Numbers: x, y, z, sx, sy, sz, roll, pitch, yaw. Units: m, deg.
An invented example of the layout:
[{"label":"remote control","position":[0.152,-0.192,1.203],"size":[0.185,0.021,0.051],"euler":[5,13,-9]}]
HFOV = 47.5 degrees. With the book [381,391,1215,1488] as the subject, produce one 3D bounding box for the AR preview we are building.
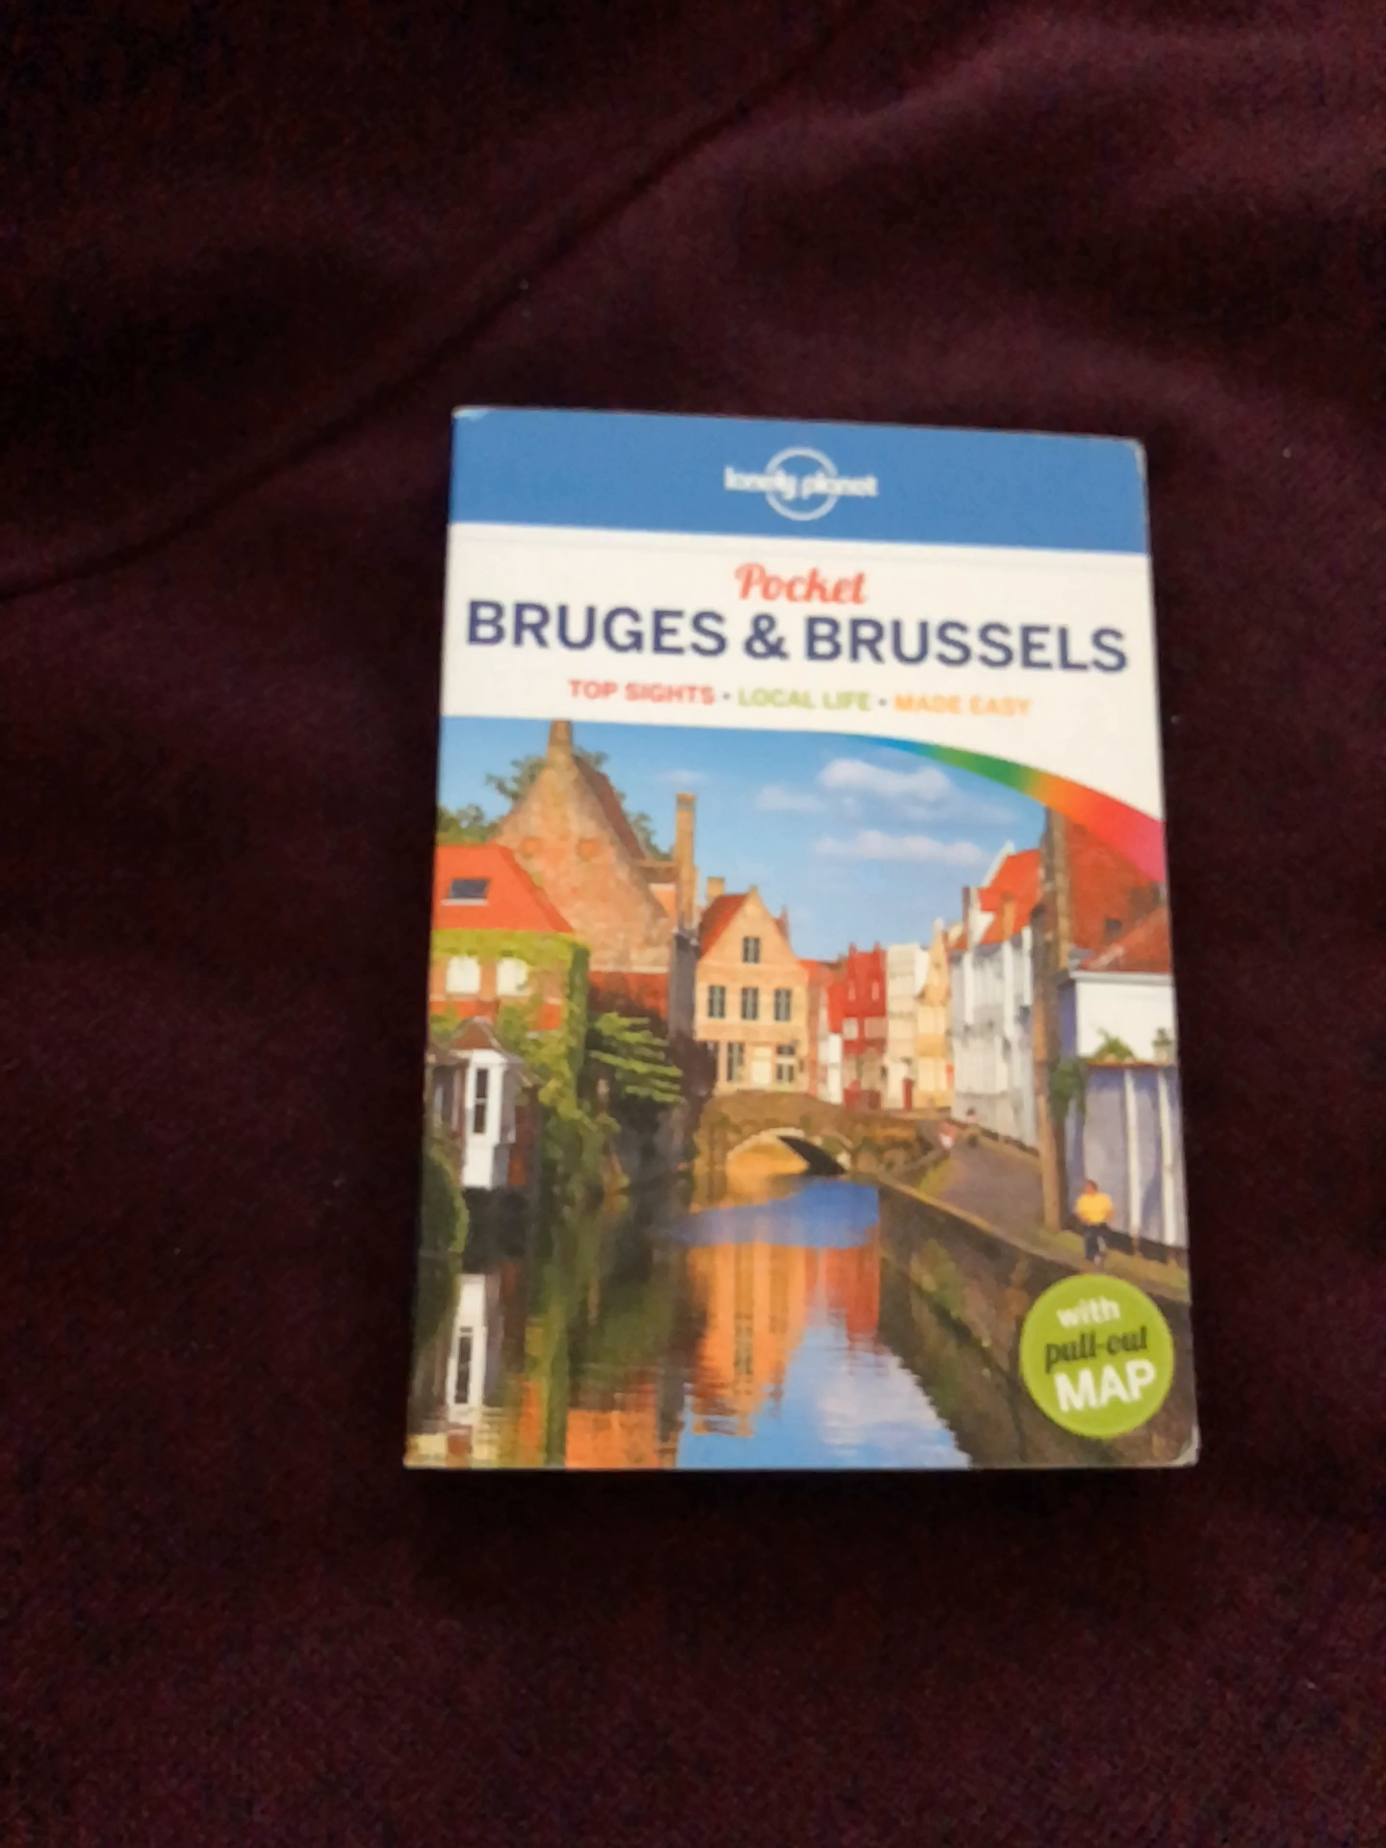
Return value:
[{"label":"book","position":[0.015,-0.001,0.232],"size":[0.110,0.016,0.158],"euler":[1,77,-4]}]
